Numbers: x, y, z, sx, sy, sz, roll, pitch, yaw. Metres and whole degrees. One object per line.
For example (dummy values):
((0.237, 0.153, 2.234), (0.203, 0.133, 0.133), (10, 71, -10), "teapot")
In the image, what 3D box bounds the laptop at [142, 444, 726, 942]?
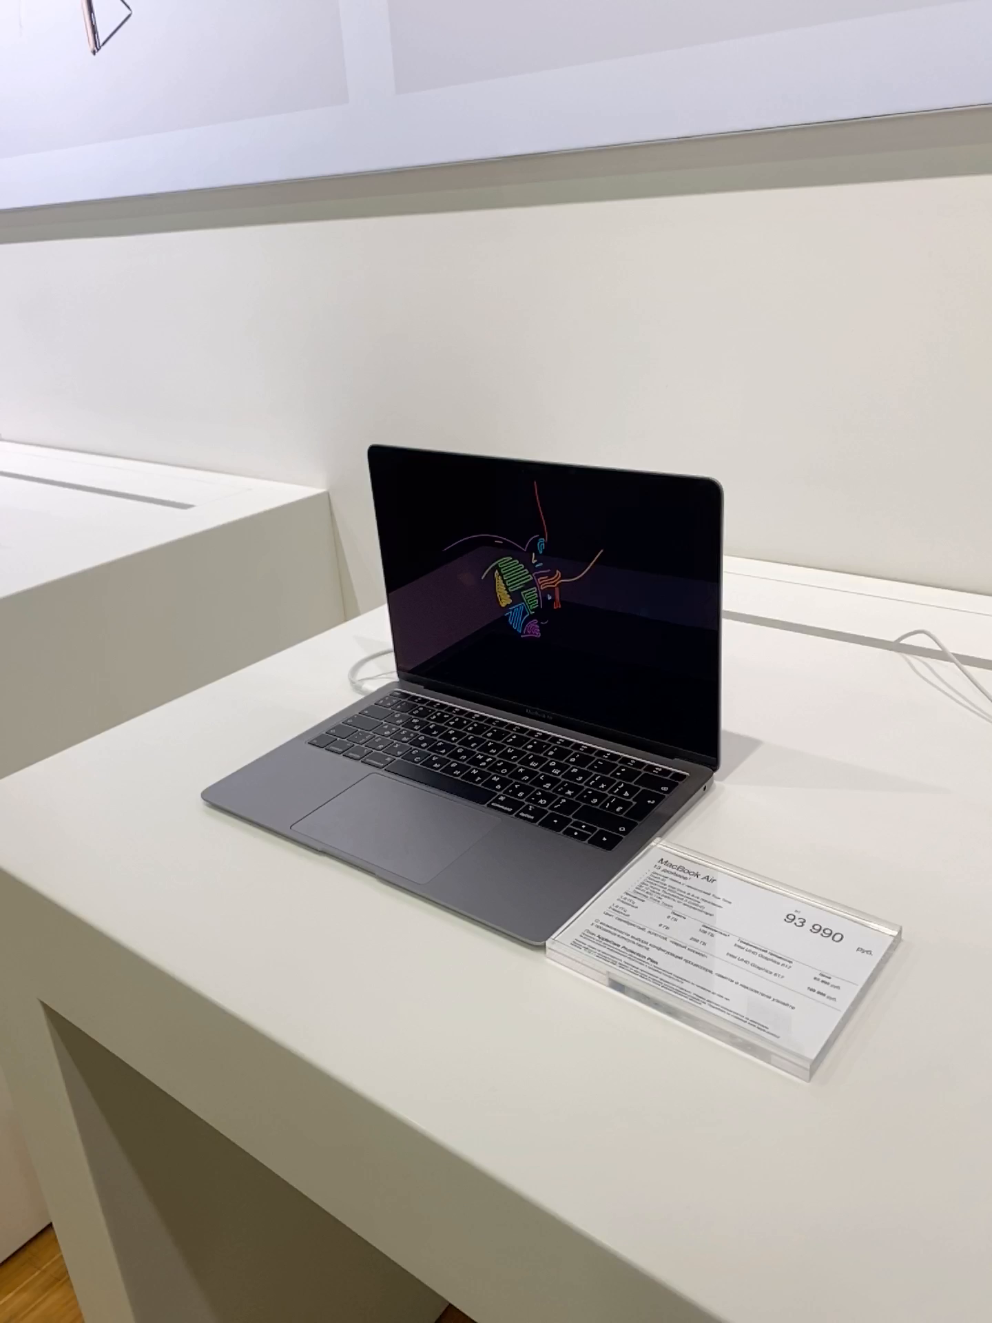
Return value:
((-0.035, -0.010, 0.686), (0.302, 0.211, 0.225), (13, 28, 36), "laptop")
